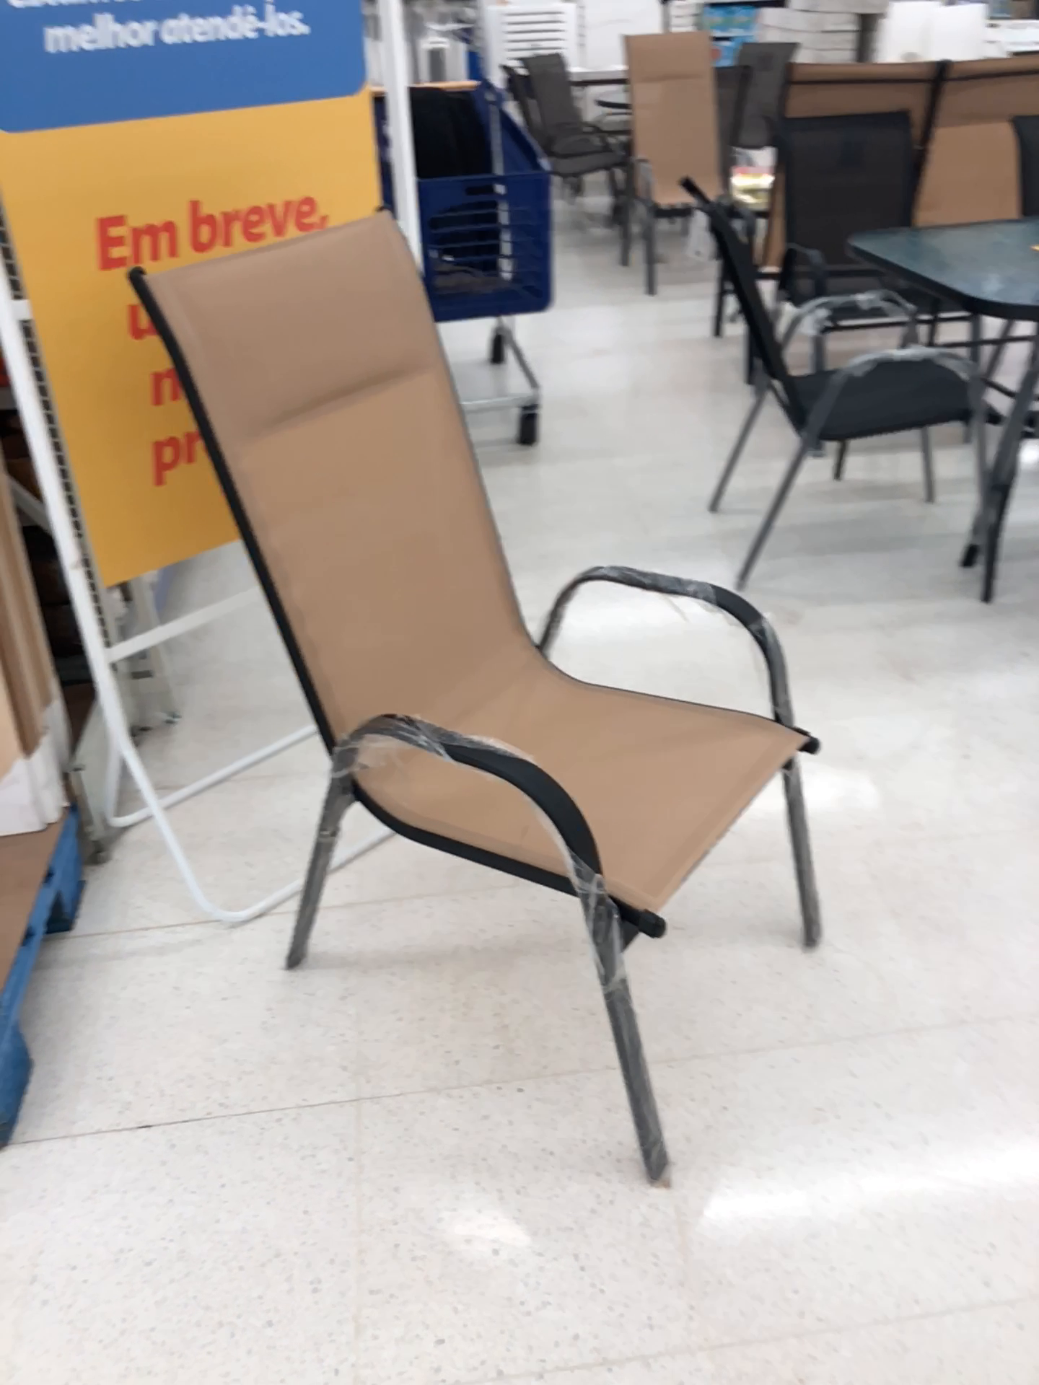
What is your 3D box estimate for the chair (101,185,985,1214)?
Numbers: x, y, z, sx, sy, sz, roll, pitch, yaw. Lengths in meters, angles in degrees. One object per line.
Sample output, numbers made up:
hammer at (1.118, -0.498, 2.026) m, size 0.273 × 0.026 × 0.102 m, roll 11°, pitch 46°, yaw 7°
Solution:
chair at (0.057, -0.054, 1.455) m, size 0.701 × 0.973 × 0.624 m, roll 19°, pitch 38°, yaw 31°
